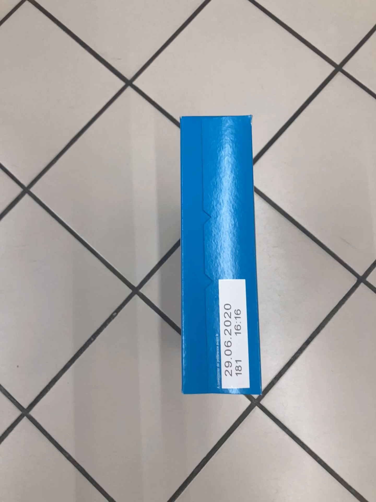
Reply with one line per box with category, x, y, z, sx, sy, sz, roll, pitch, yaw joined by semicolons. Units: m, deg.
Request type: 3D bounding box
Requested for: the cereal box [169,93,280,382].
cereal box;0.029;0.004;0.410;0.070;0.250;0.200;-1;82;3
